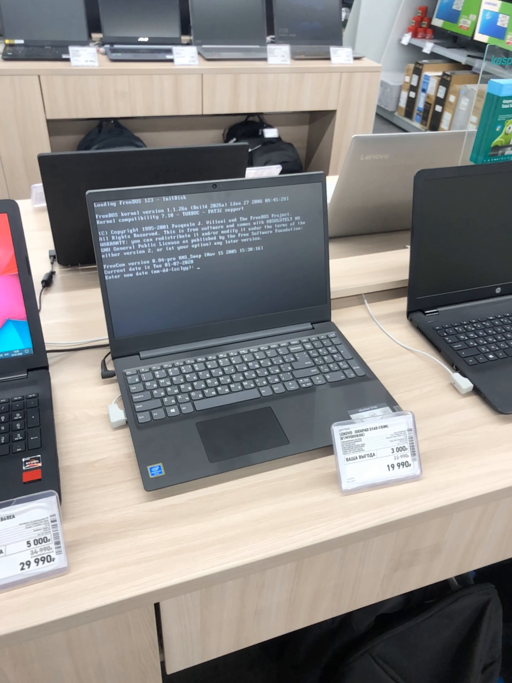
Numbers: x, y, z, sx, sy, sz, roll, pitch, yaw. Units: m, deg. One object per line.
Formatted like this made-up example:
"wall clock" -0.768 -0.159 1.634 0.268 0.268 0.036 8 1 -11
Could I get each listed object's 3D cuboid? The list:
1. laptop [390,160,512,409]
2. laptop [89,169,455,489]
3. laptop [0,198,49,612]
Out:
"laptop" 0.450 -0.105 0.839 0.337 0.208 0.298 -10 40 -18
"laptop" -0.010 -0.046 0.728 0.340 0.210 0.323 -10 40 -17
"laptop" -0.424 0.025 0.595 0.351 0.202 0.321 -9 39 -17
